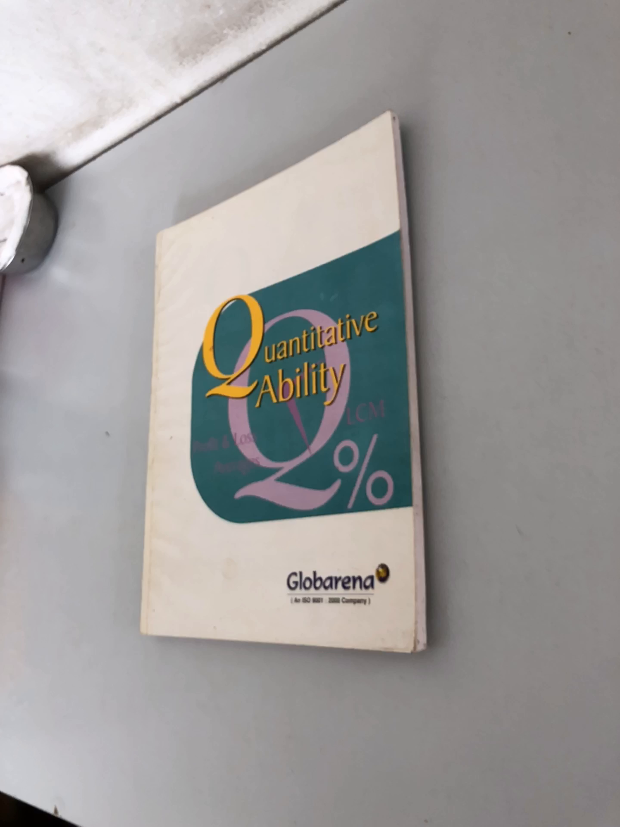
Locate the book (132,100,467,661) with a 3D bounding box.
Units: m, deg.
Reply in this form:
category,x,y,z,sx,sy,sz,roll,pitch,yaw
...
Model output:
category,x,y,z,sx,sy,sz,roll,pitch,yaw
book,-0.020,-0.008,0.353,0.191,0.020,0.240,-11,74,39
